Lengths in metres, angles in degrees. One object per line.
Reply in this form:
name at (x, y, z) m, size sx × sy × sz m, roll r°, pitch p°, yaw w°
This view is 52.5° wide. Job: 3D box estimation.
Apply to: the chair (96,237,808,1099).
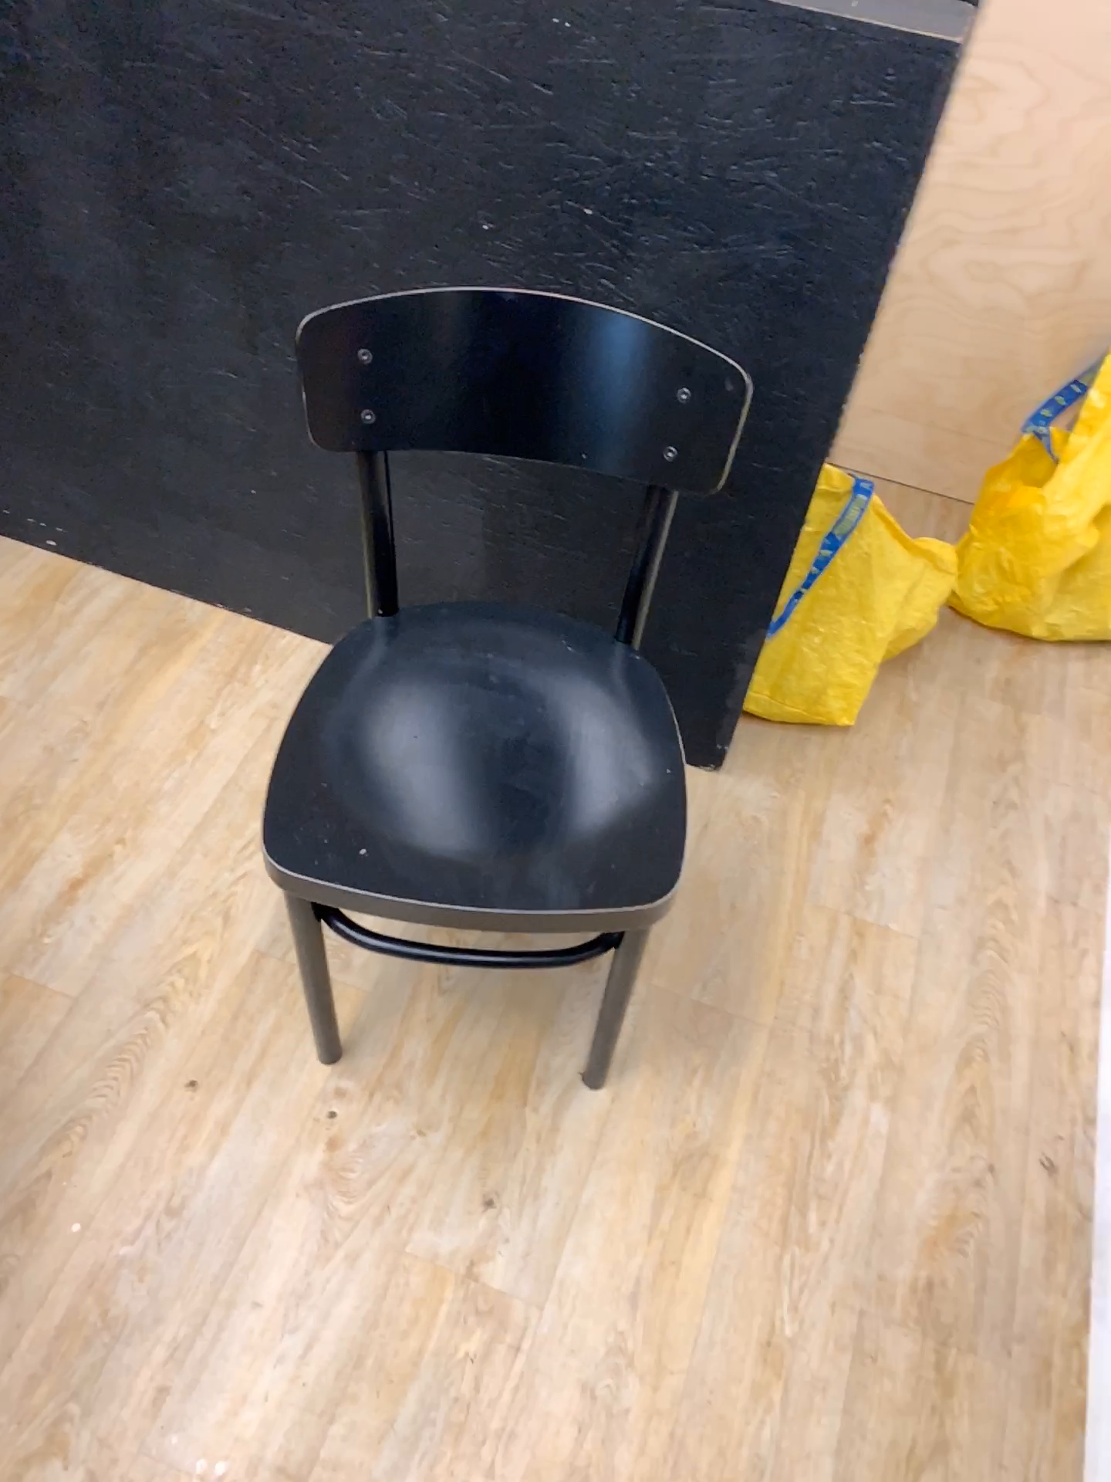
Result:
chair at (-0.087, -0.021, 1.103) m, size 0.440 × 0.698 × 0.441 m, roll 6°, pitch 50°, yaw -3°
